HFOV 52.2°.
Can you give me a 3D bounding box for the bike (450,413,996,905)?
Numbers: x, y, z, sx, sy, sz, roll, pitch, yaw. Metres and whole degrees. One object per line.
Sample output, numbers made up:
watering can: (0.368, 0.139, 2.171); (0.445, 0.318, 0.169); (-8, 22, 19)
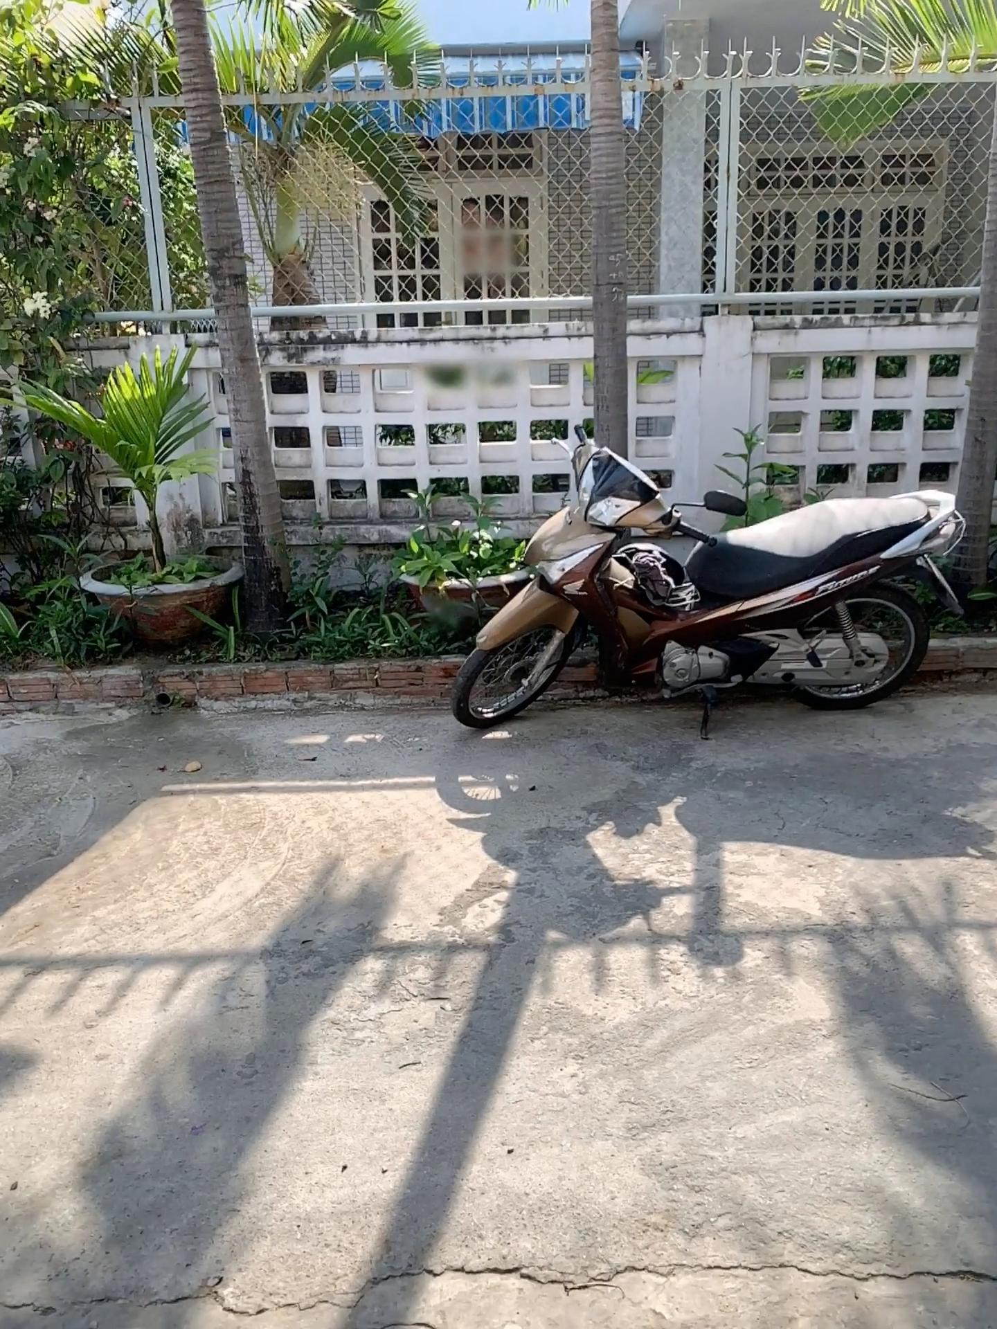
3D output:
bike: (0.835, -0.097, 3.668); (1.975, 1.443, 0.614); (-6, 17, -12)
